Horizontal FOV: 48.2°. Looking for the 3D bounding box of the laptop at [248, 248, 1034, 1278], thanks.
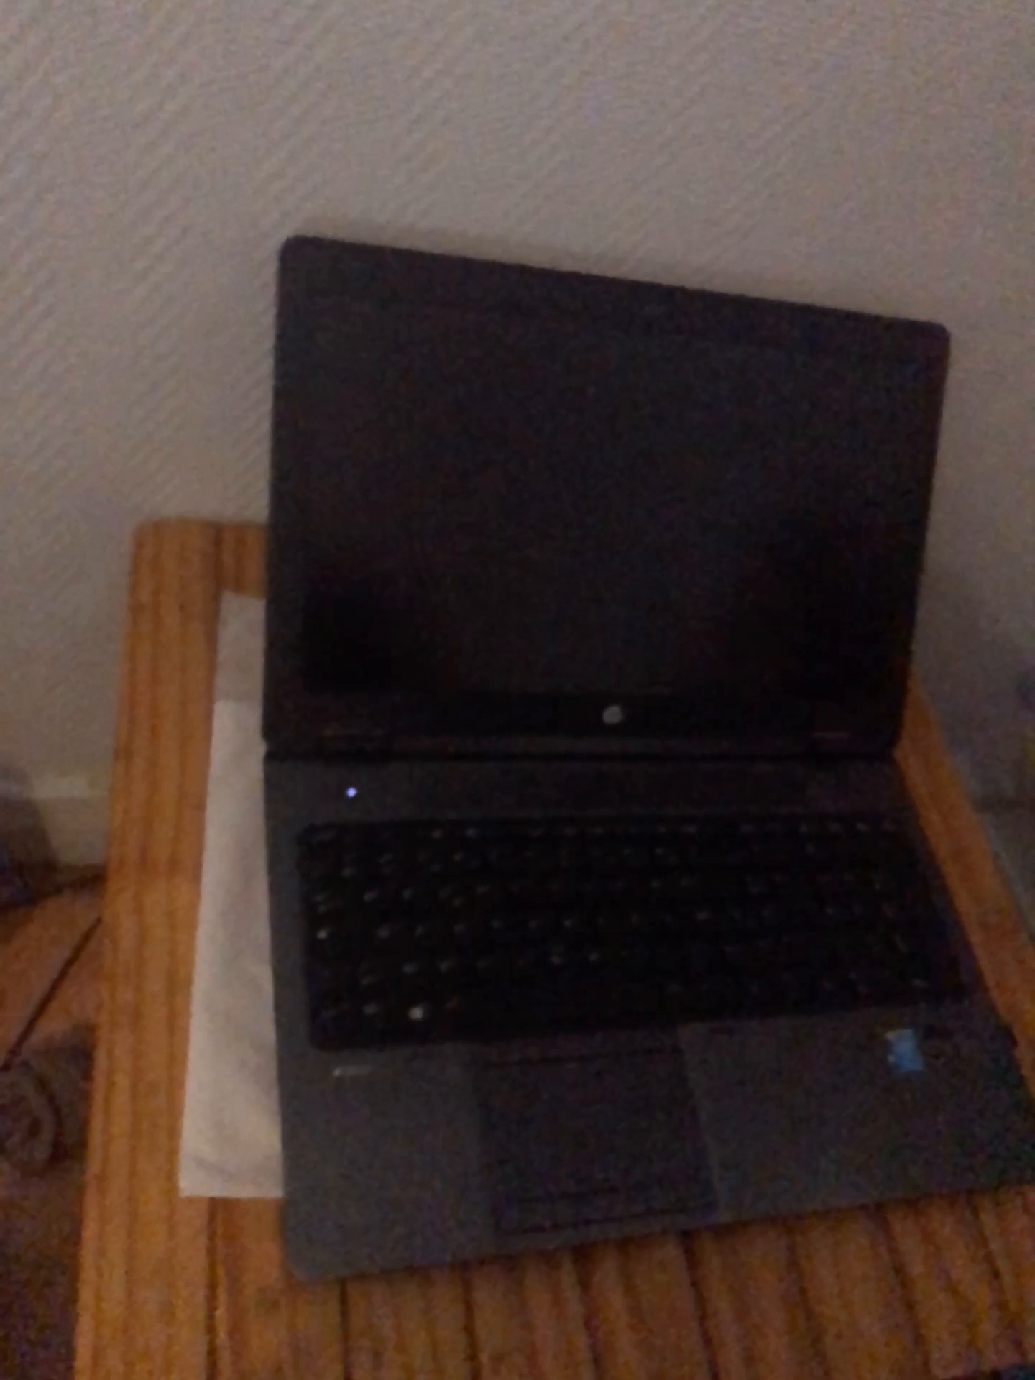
[{"bbox_3d":[0.080,0.014,0.570,0.383,0.195,0.410,1,53,-19],"label":"laptop"}]
